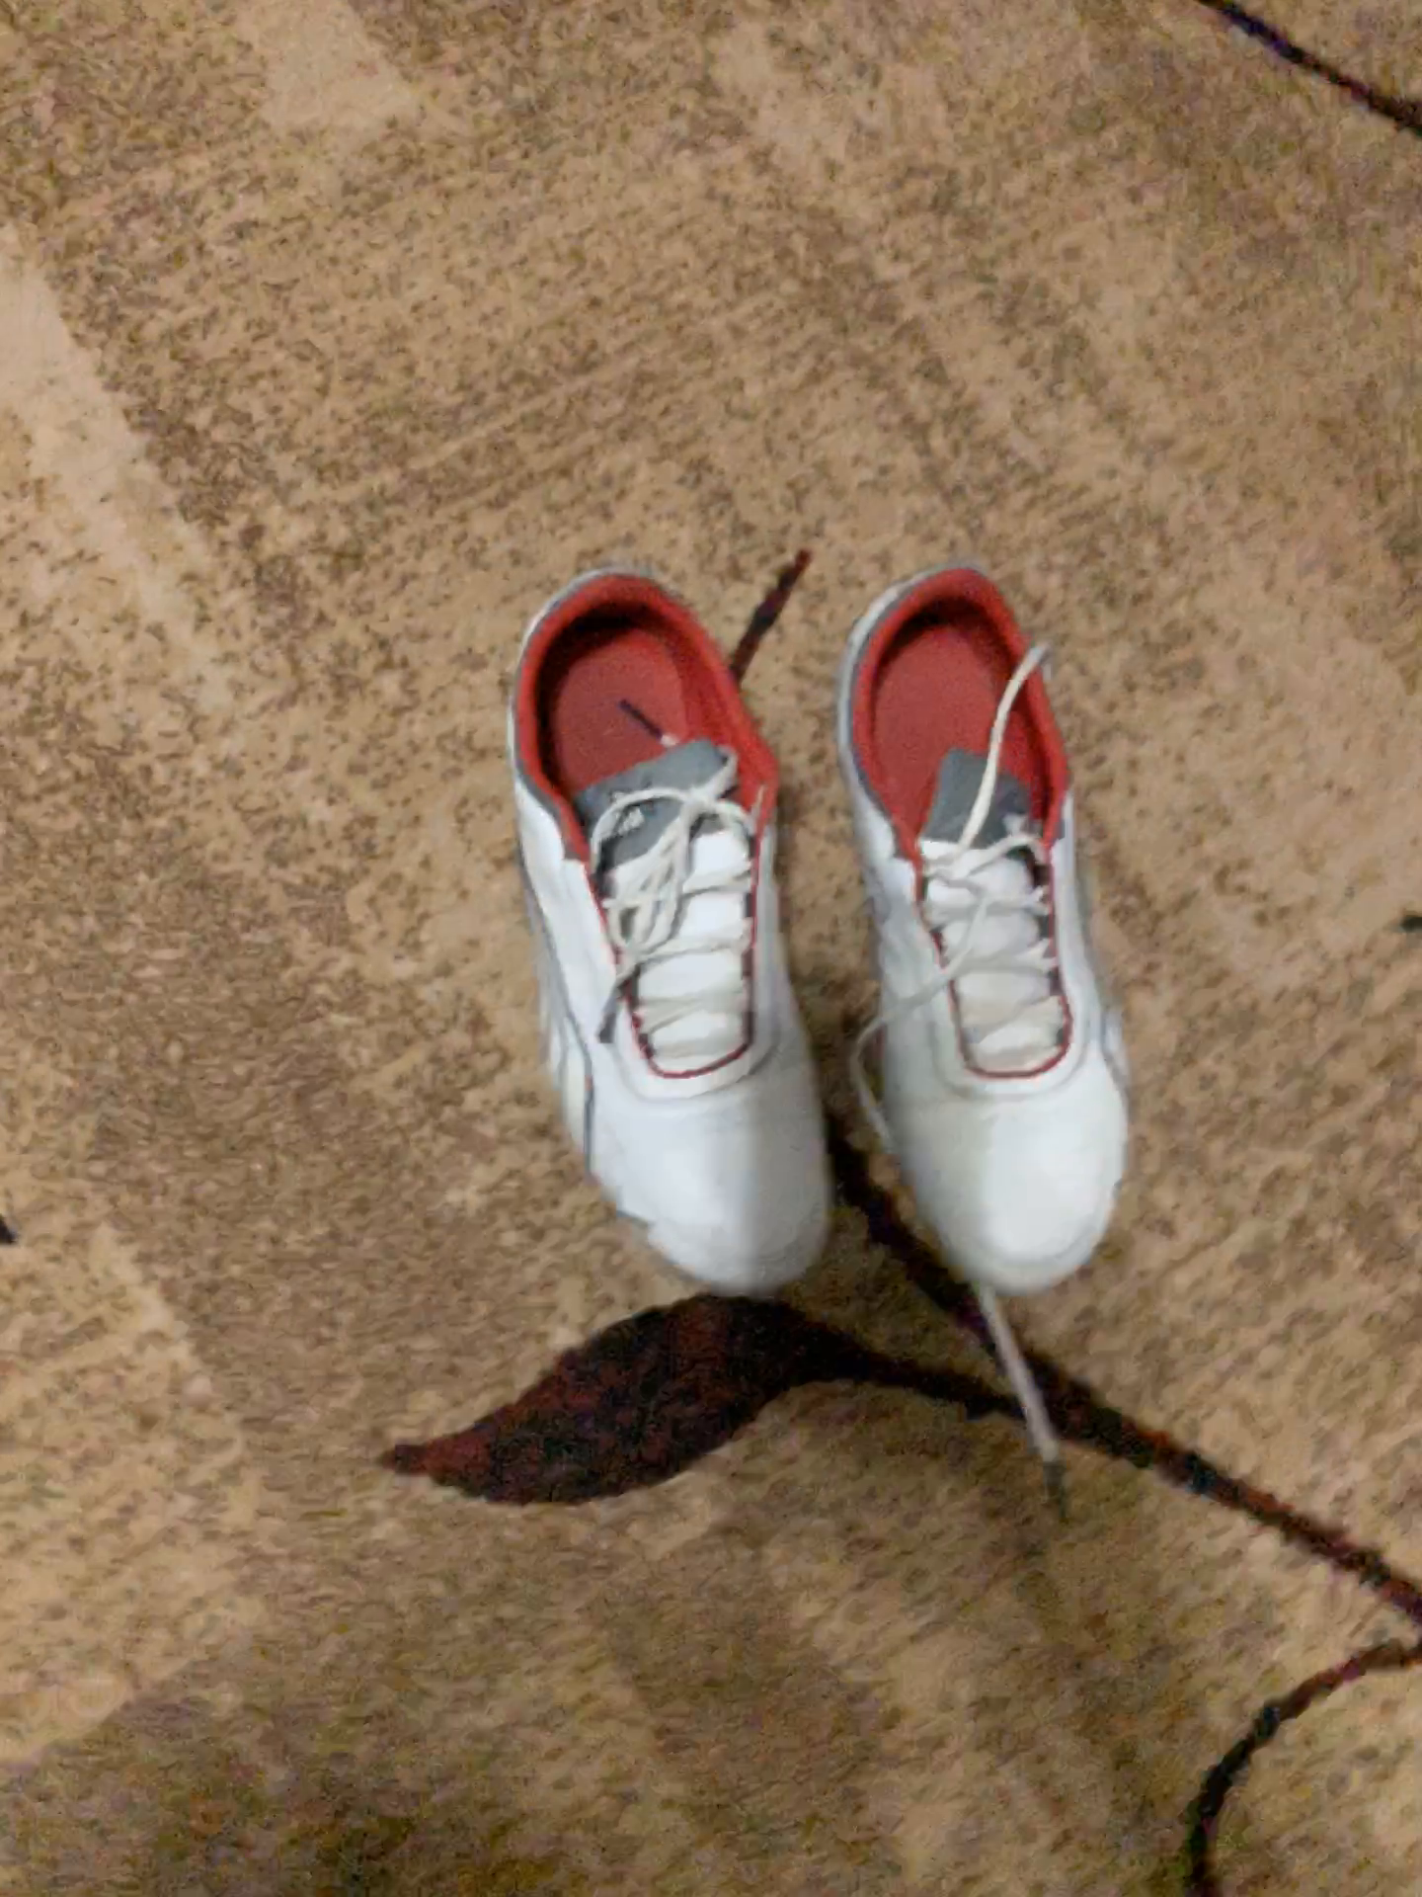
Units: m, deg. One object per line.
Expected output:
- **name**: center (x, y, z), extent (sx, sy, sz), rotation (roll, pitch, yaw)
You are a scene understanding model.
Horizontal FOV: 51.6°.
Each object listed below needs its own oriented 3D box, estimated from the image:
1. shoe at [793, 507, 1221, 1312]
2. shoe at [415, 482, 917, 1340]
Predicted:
- **shoe**: center (0.101, -0.016, 0.541), extent (0.103, 0.070, 0.281), rotation (-4, 78, -7)
- **shoe**: center (-0.022, -0.015, 0.527), extent (0.099, 0.070, 0.281), rotation (-14, 79, -10)
